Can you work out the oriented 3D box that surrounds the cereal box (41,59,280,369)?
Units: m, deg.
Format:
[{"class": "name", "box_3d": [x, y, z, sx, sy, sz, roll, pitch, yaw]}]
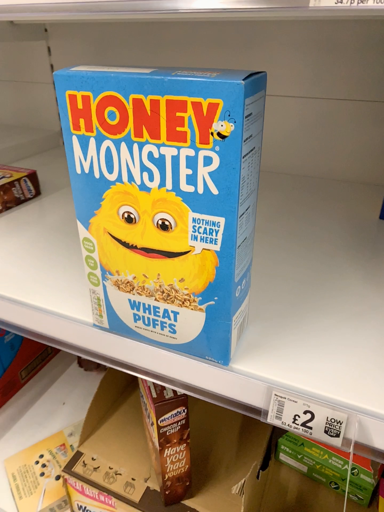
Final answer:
[{"class": "cereal box", "box_3d": [-0.028, -0.046, 0.434, 0.200, 0.297, 0.091, 12, 31, 21]}]
